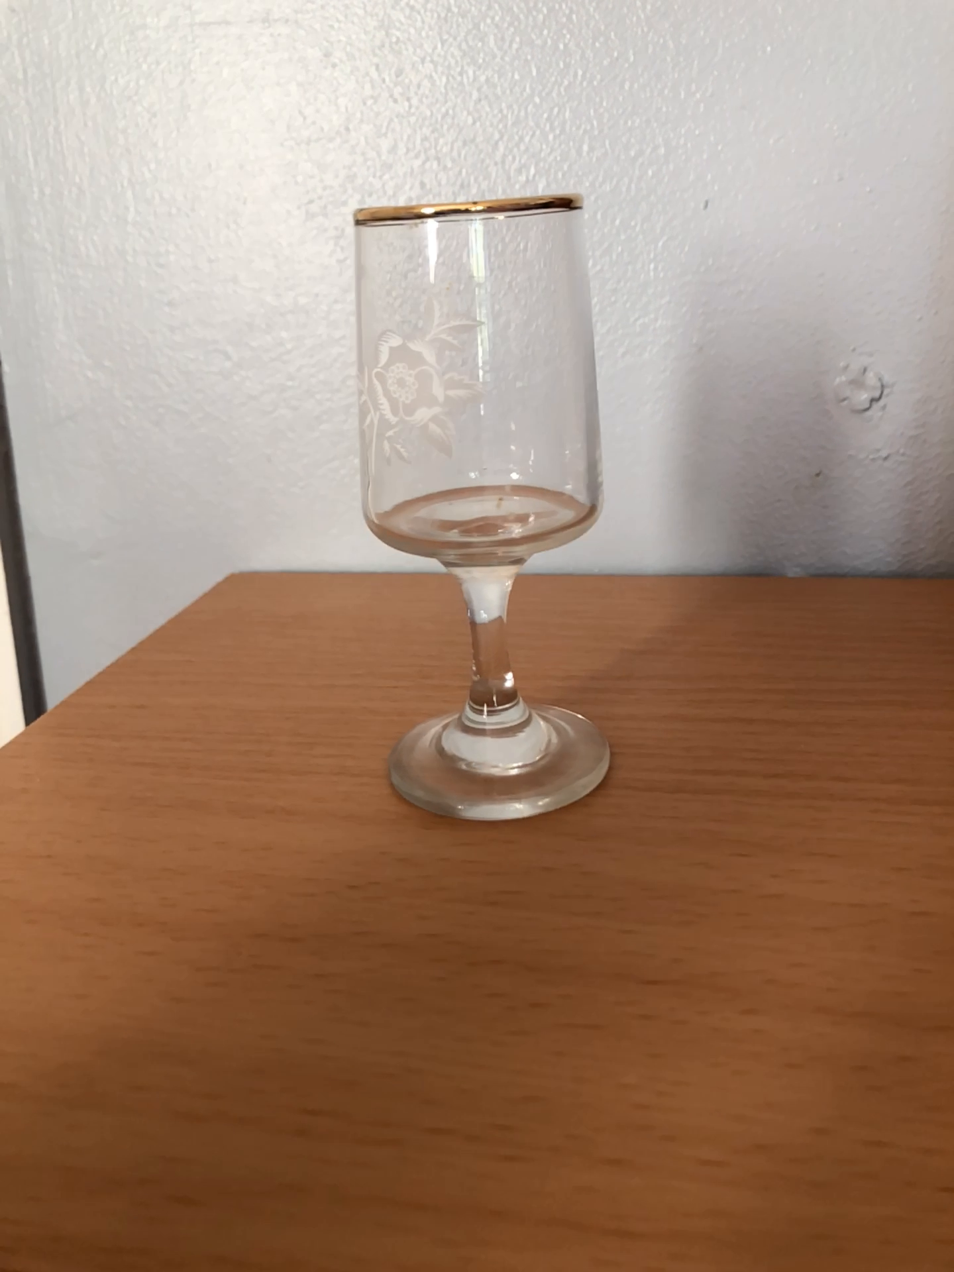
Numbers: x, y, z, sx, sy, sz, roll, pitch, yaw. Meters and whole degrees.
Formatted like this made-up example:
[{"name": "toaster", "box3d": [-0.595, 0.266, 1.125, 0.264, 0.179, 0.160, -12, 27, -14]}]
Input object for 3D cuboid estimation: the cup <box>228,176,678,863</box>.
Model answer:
[{"name": "cup", "box3d": [0.000, -0.025, 0.198, 0.052, 0.108, 0.056, -3, 21, 1]}]
